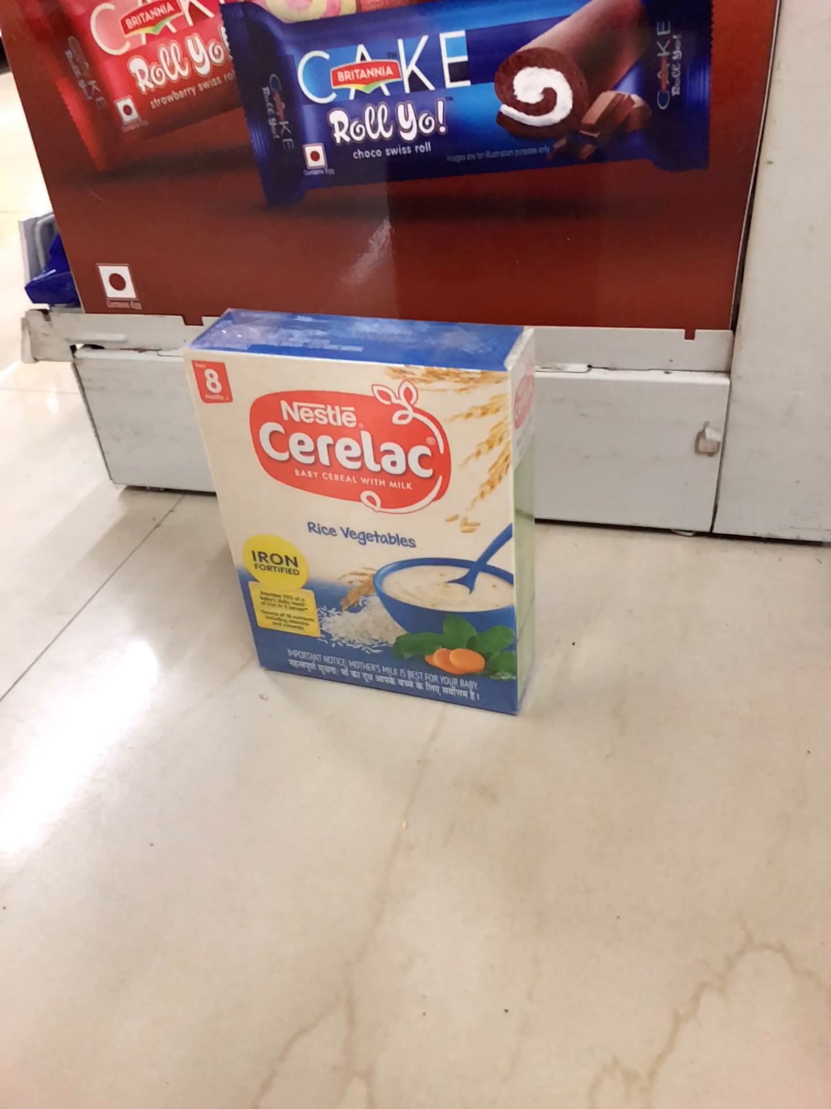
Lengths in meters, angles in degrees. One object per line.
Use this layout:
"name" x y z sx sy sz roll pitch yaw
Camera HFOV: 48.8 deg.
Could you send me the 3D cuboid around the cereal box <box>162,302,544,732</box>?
"cereal box" -0.021 -0.017 0.465 0.160 0.199 0.060 8 37 17
